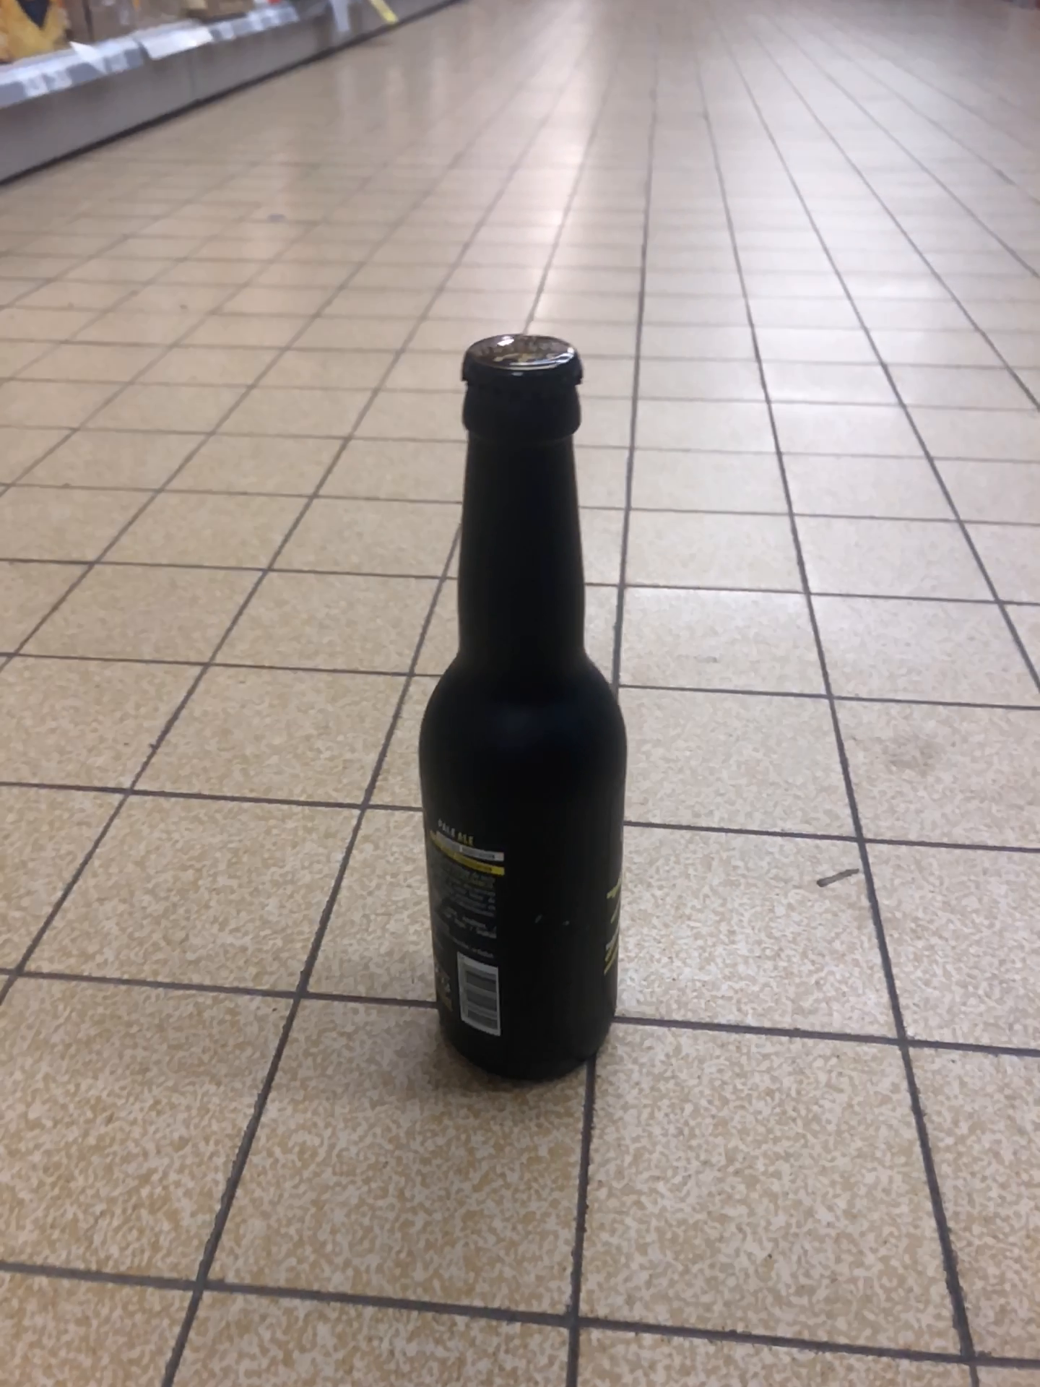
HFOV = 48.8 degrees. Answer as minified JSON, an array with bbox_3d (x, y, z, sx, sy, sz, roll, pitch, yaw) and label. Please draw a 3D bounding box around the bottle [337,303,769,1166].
[{"bbox_3d":[0.006,0.019,0.311,0.070,0.219,0.070,-1,33,0],"label":"bottle"}]
